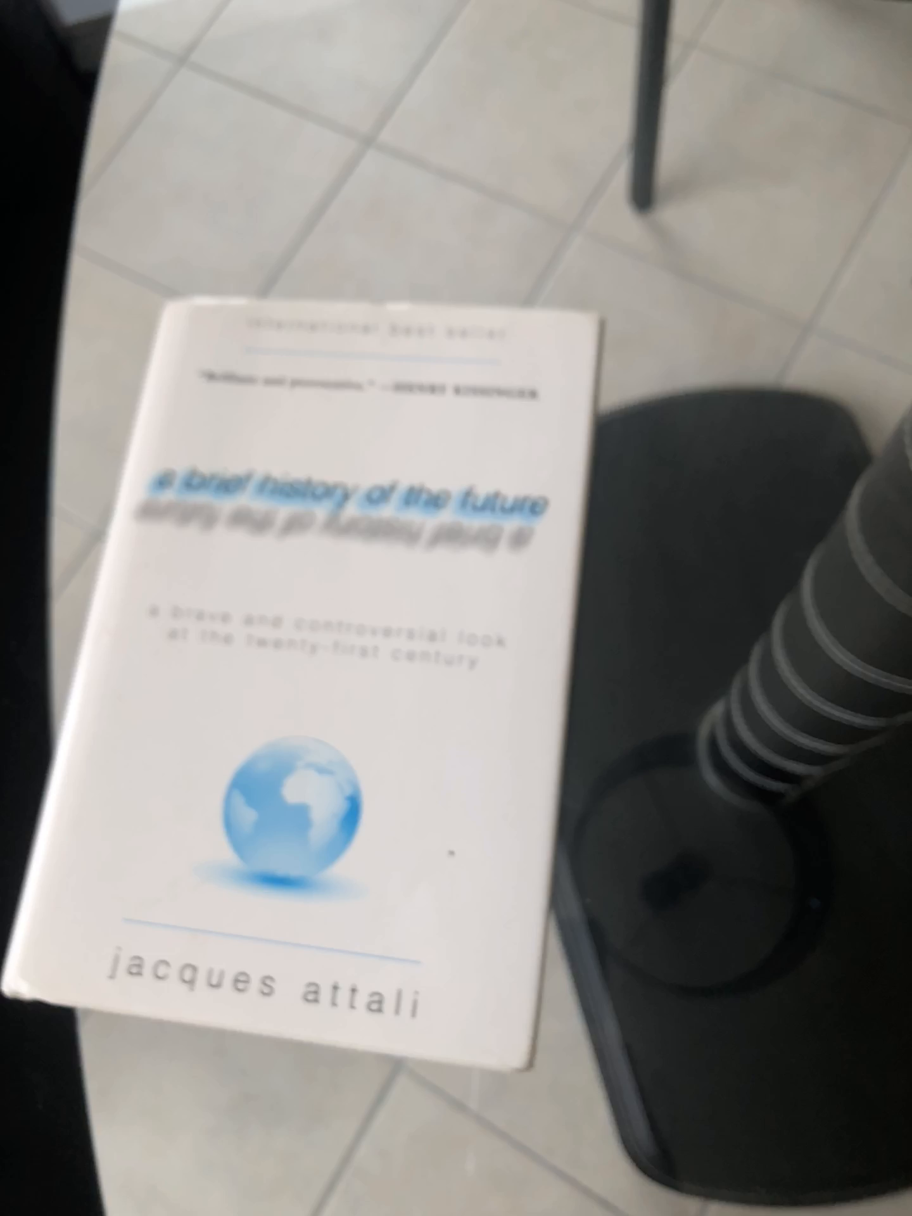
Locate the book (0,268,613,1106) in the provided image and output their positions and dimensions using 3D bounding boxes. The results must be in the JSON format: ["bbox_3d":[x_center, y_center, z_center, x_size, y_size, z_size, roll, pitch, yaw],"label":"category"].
[{"bbox_3d":[-0.042,0.010,0.290,0.150,0.040,0.210,6,74,9],"label":"book"}]
